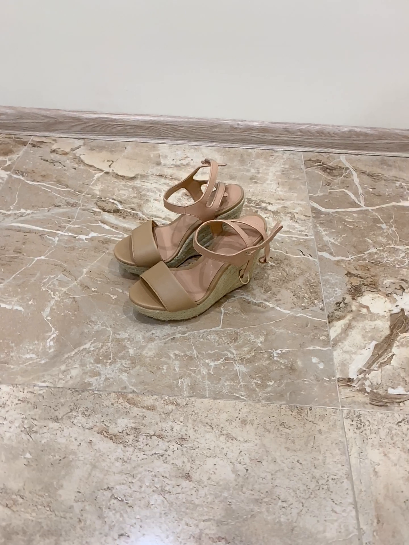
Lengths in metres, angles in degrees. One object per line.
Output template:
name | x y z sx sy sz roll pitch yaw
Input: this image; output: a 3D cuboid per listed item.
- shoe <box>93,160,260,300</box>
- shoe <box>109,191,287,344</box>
shoe | -0.041 -0.062 0.624 0.210 0.149 0.090 -12 51 -12
shoe | -0.009 -0.009 0.589 0.210 0.129 0.090 -20 53 -18
